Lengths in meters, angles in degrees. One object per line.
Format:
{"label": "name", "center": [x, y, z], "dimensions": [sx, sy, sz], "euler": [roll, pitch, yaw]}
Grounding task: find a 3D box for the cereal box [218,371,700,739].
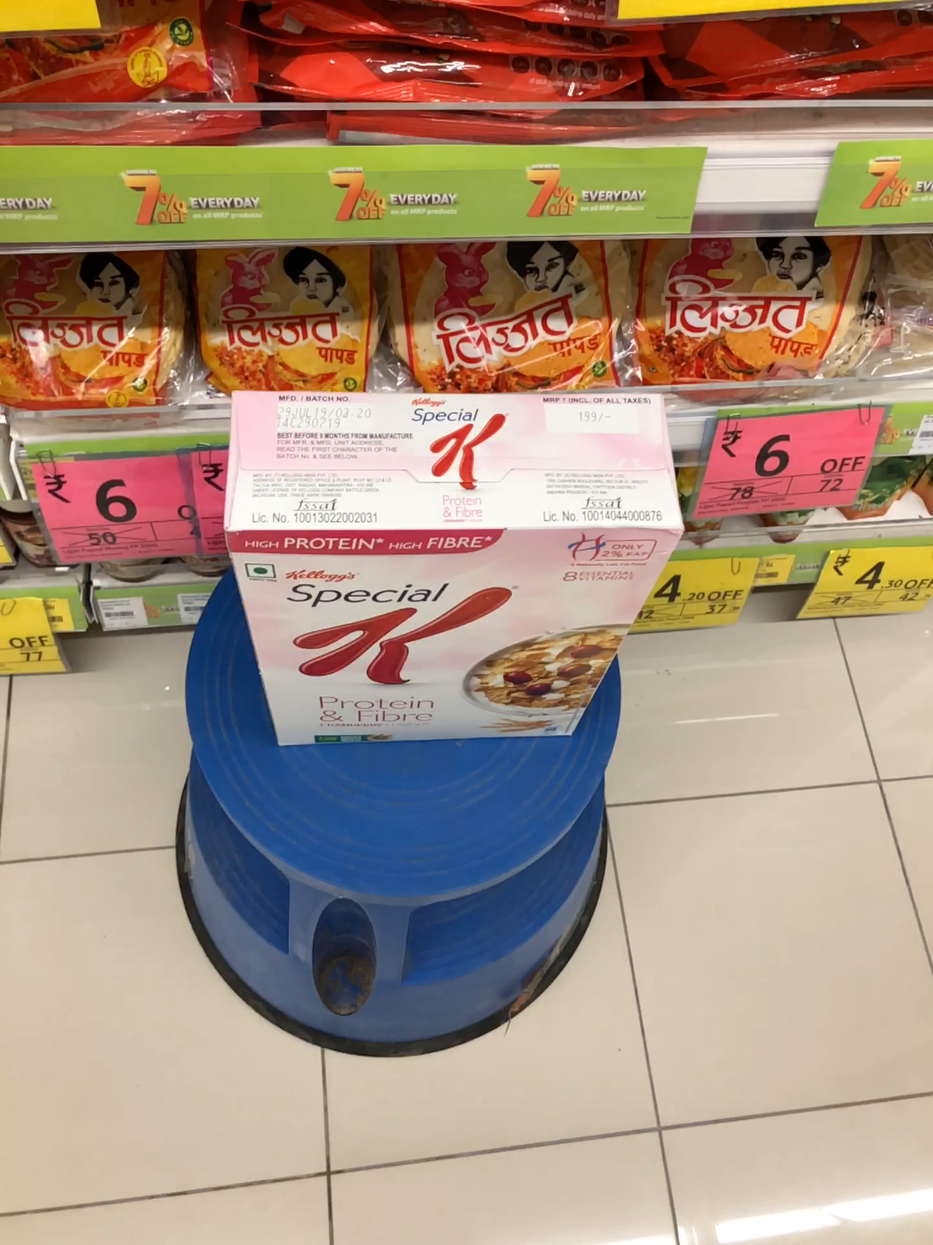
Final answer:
{"label": "cereal box", "center": [-0.011, -0.016, 0.511], "dimensions": [0.180, 0.249, 0.070], "euler": [-1, 66, -5]}
